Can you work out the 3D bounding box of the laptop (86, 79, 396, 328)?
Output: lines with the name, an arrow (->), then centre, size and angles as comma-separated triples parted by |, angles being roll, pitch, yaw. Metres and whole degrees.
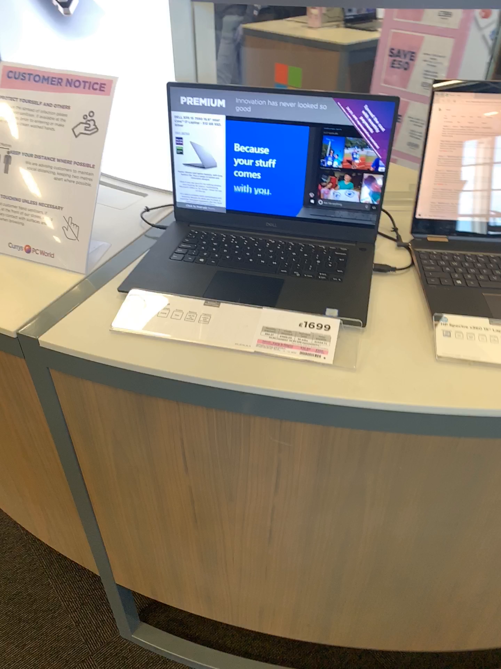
laptop -> 0.007, -0.201, 0.729 | 0.350, 0.224, 0.255 | 9, 38, 10
